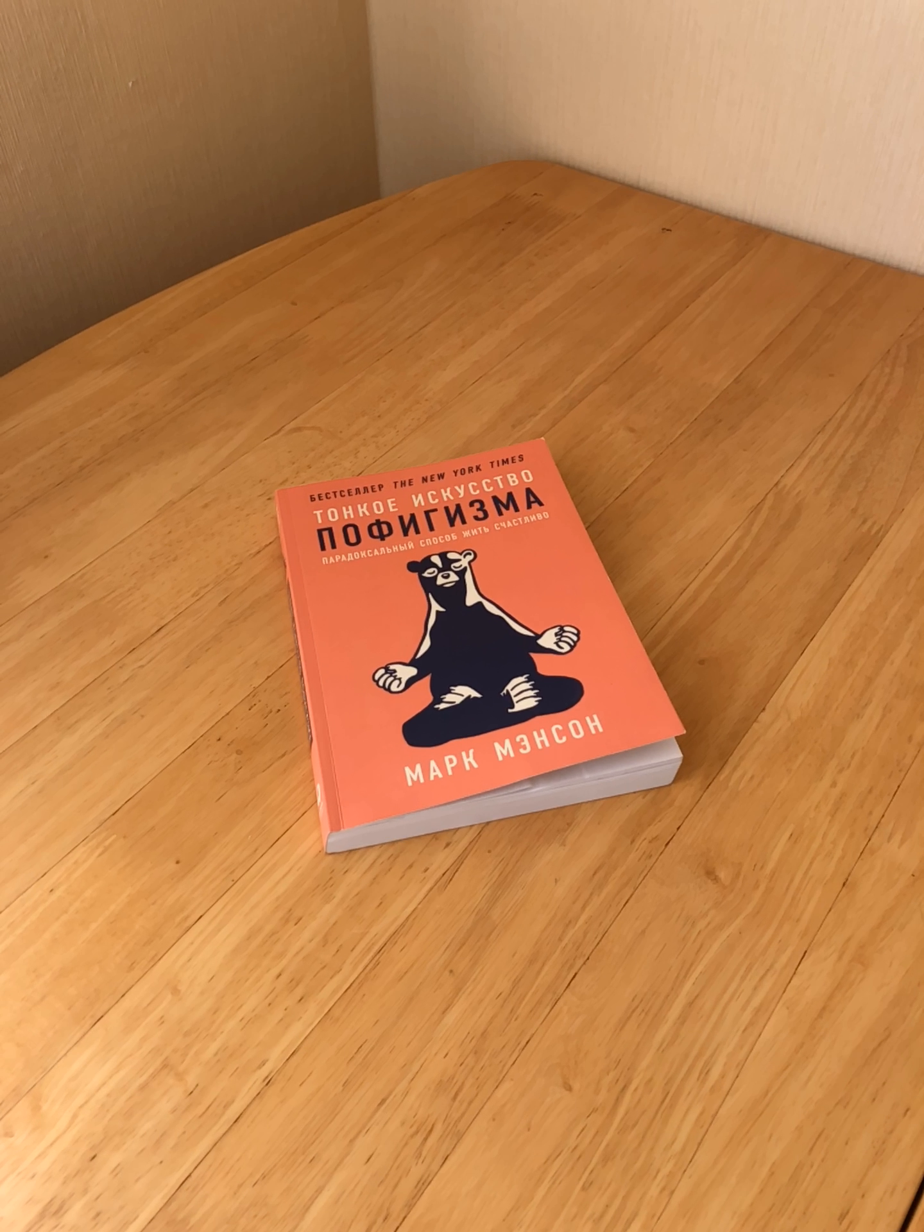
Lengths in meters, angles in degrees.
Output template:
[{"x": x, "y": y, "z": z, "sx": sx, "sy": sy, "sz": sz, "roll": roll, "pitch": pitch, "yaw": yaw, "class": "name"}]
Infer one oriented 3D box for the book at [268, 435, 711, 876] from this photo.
[{"x": 0.000, "y": 0.003, "z": 0.447, "sx": 0.143, "sy": 0.033, "sz": 0.197, "roll": -10, "pitch": 47, "yaw": -9, "class": "book"}]
